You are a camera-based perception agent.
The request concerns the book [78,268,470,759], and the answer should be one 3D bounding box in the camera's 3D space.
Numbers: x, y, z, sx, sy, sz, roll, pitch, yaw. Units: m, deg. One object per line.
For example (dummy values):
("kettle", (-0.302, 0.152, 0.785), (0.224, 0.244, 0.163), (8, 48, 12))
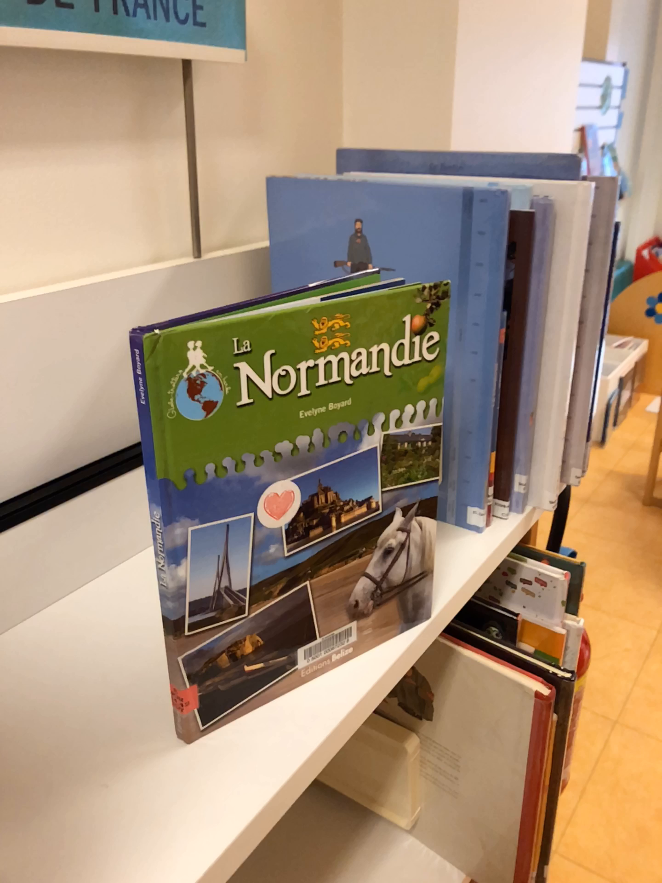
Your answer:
("book", (-0.025, 0.034, 0.457), (0.208, 0.249, 0.077), (-15, 27, -30))
